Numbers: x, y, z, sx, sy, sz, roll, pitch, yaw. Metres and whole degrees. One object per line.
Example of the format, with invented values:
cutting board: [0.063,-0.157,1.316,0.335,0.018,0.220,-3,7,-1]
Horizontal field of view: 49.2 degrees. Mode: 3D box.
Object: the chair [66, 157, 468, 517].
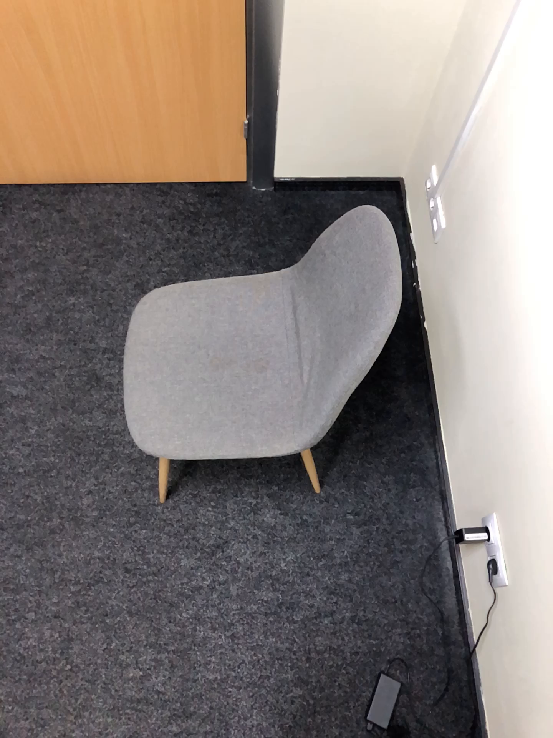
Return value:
chair: [-0.045,0.001,1.352,0.600,0.788,0.471,-4,67,-5]
